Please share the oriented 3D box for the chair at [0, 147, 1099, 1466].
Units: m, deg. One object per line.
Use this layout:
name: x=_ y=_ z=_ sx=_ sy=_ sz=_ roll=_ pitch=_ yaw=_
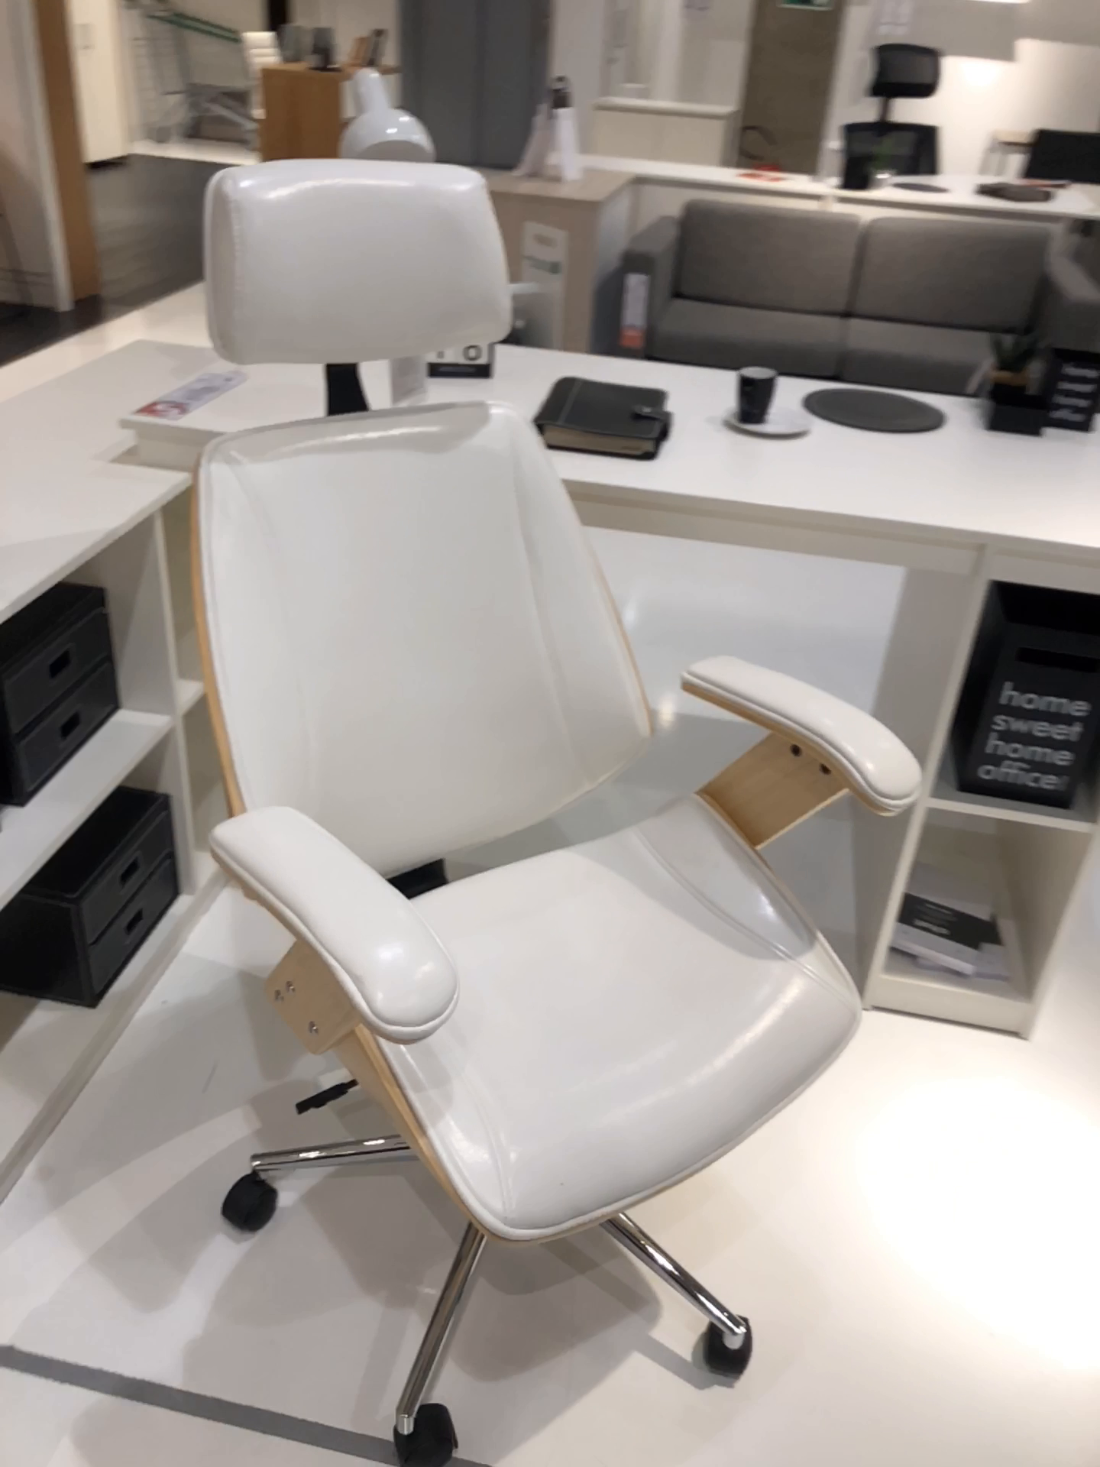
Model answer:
chair: x=-0.016 y=0.072 z=1.202 sx=0.672 sy=1.102 sz=0.703 roll=-17 pitch=37 yaw=-32
